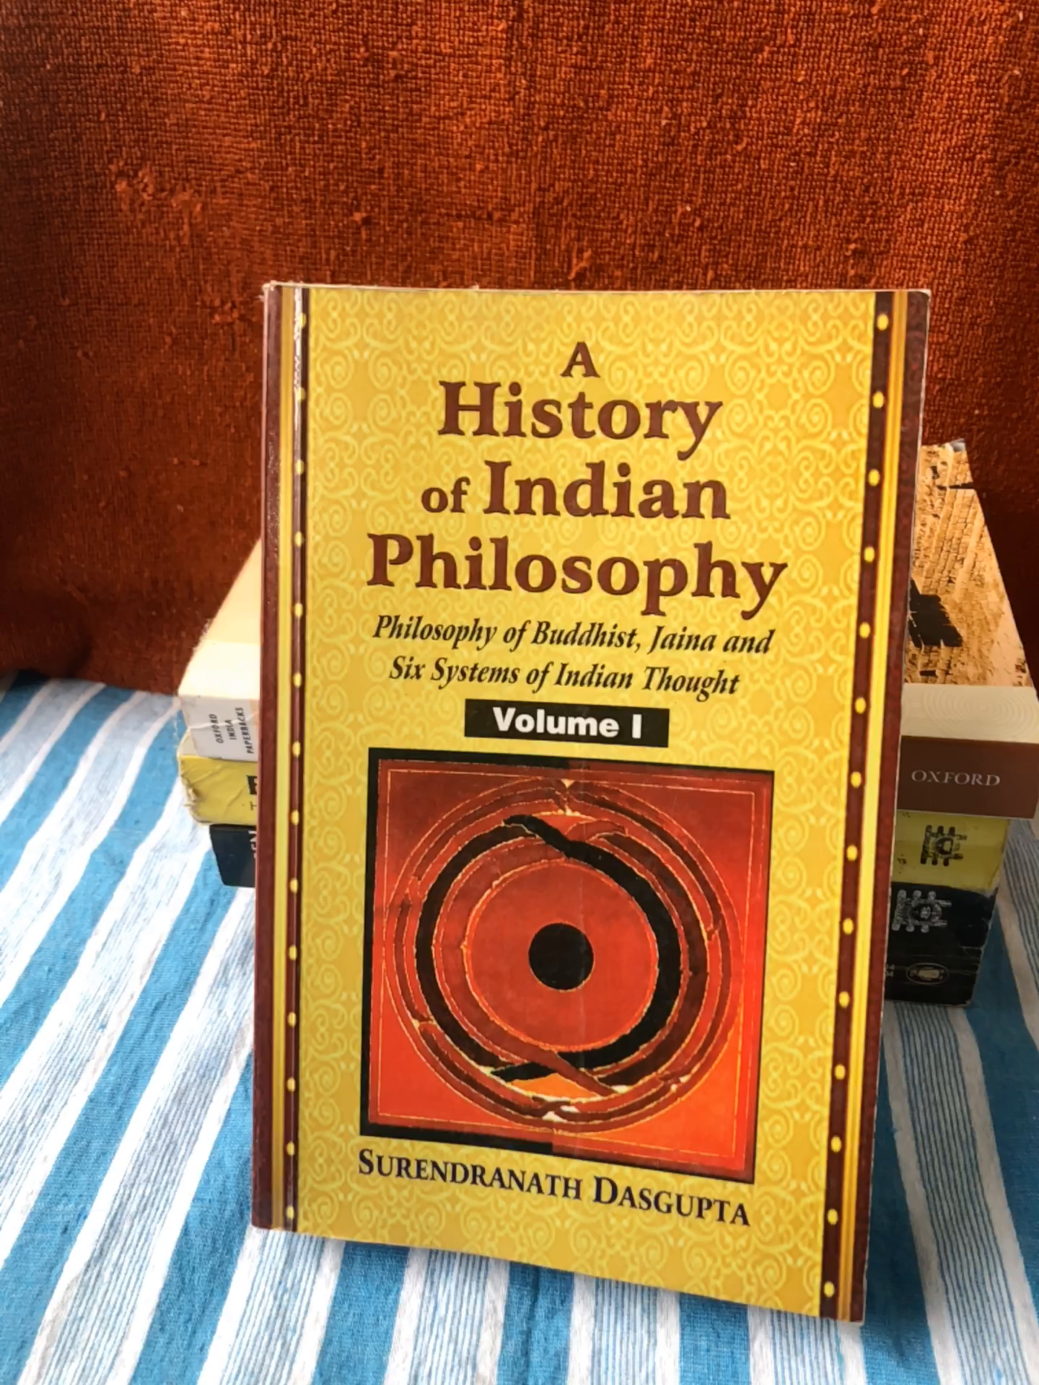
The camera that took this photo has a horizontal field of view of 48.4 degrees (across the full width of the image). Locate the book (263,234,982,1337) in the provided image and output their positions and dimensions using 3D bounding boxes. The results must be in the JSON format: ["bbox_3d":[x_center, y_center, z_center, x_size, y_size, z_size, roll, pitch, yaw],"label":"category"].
[{"bbox_3d":[0.019,0.017,0.262,0.141,0.216,0.048,3,5,12],"label":"book"}]
